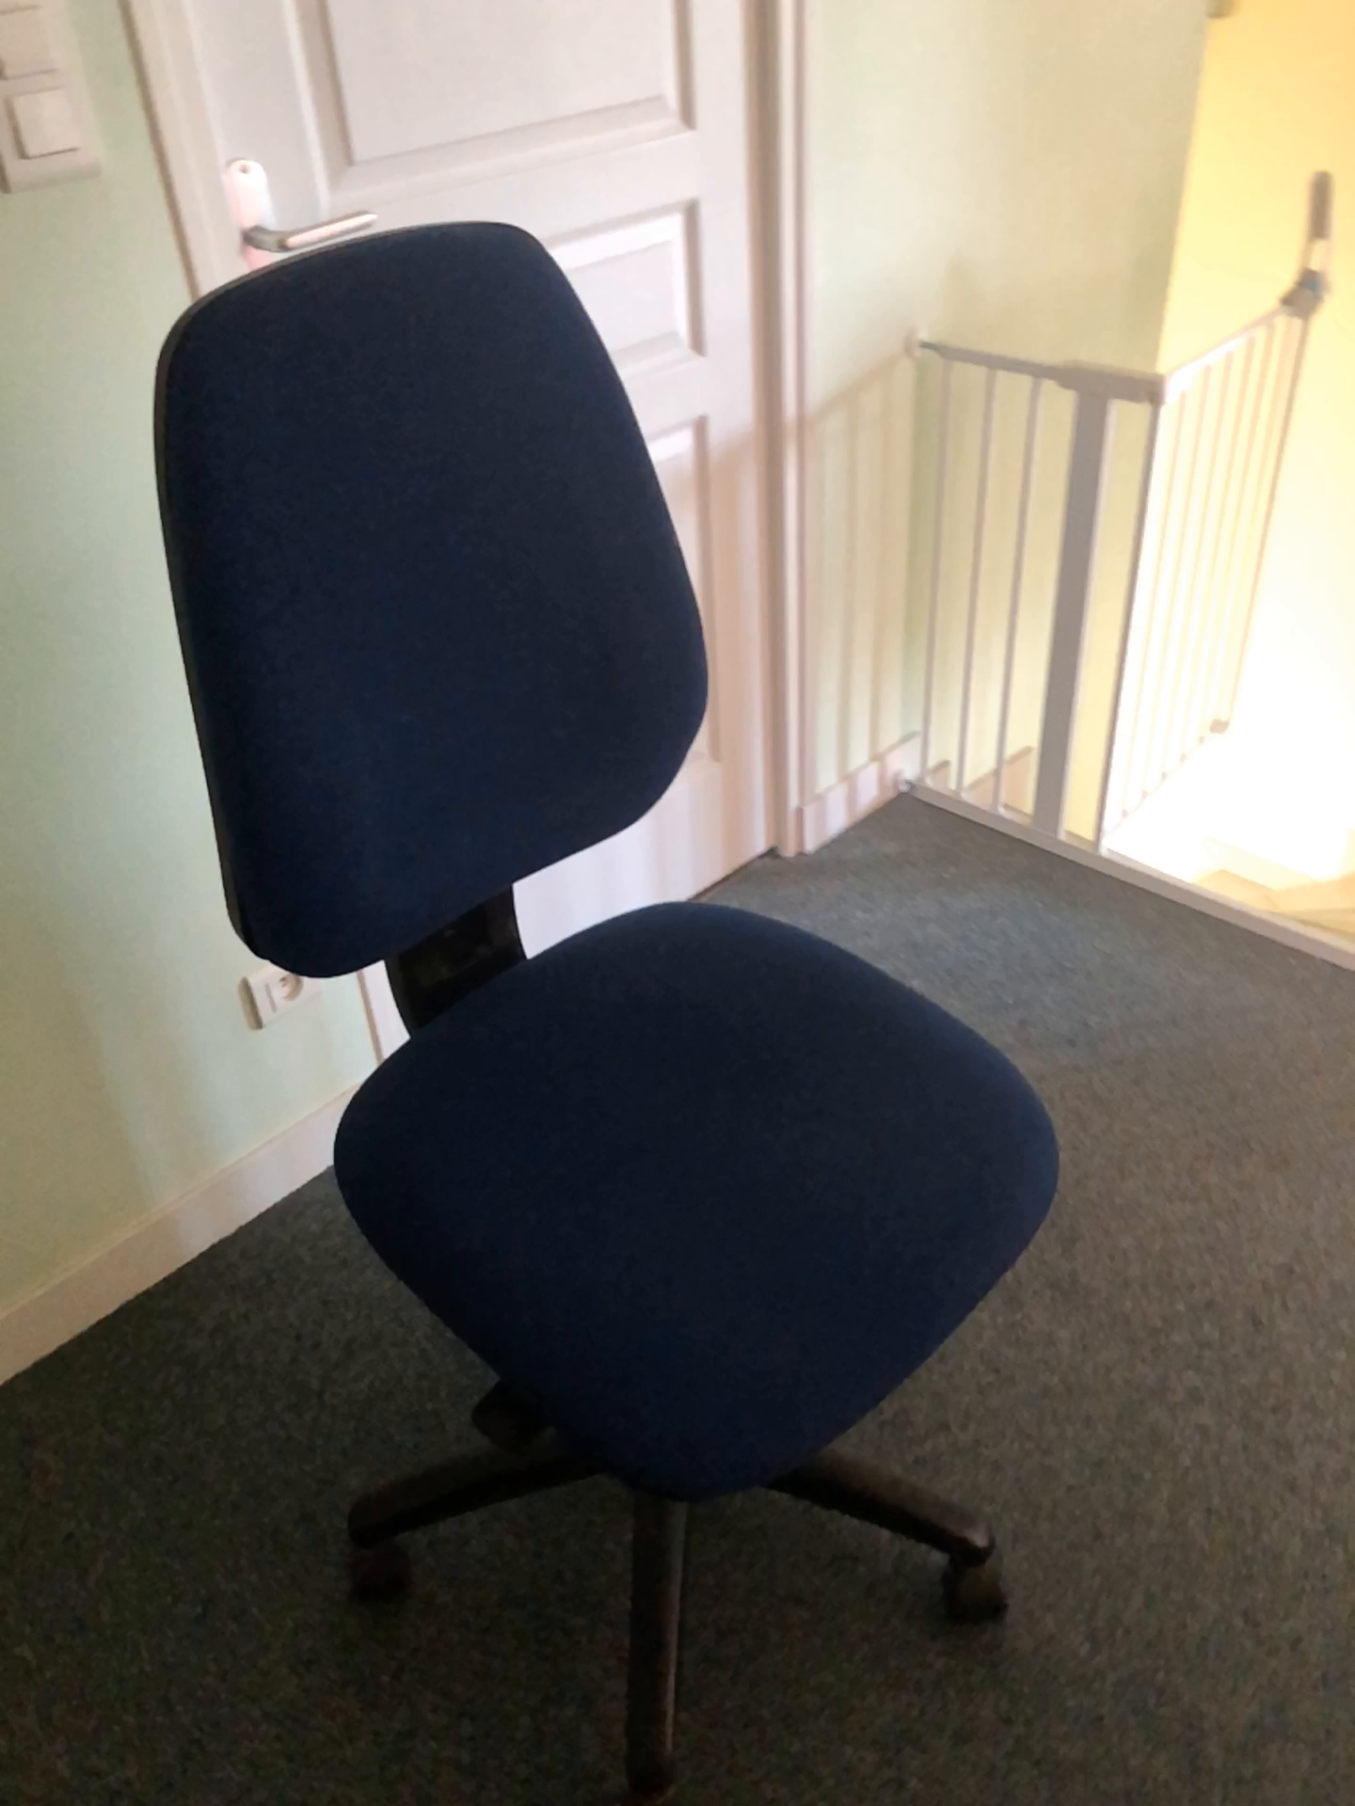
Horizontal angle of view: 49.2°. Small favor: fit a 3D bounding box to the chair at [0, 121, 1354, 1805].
[{"bbox_3d":[0.010,0.100,1.139,0.671,1.113,0.704,27,46,34],"label":"chair"}]
